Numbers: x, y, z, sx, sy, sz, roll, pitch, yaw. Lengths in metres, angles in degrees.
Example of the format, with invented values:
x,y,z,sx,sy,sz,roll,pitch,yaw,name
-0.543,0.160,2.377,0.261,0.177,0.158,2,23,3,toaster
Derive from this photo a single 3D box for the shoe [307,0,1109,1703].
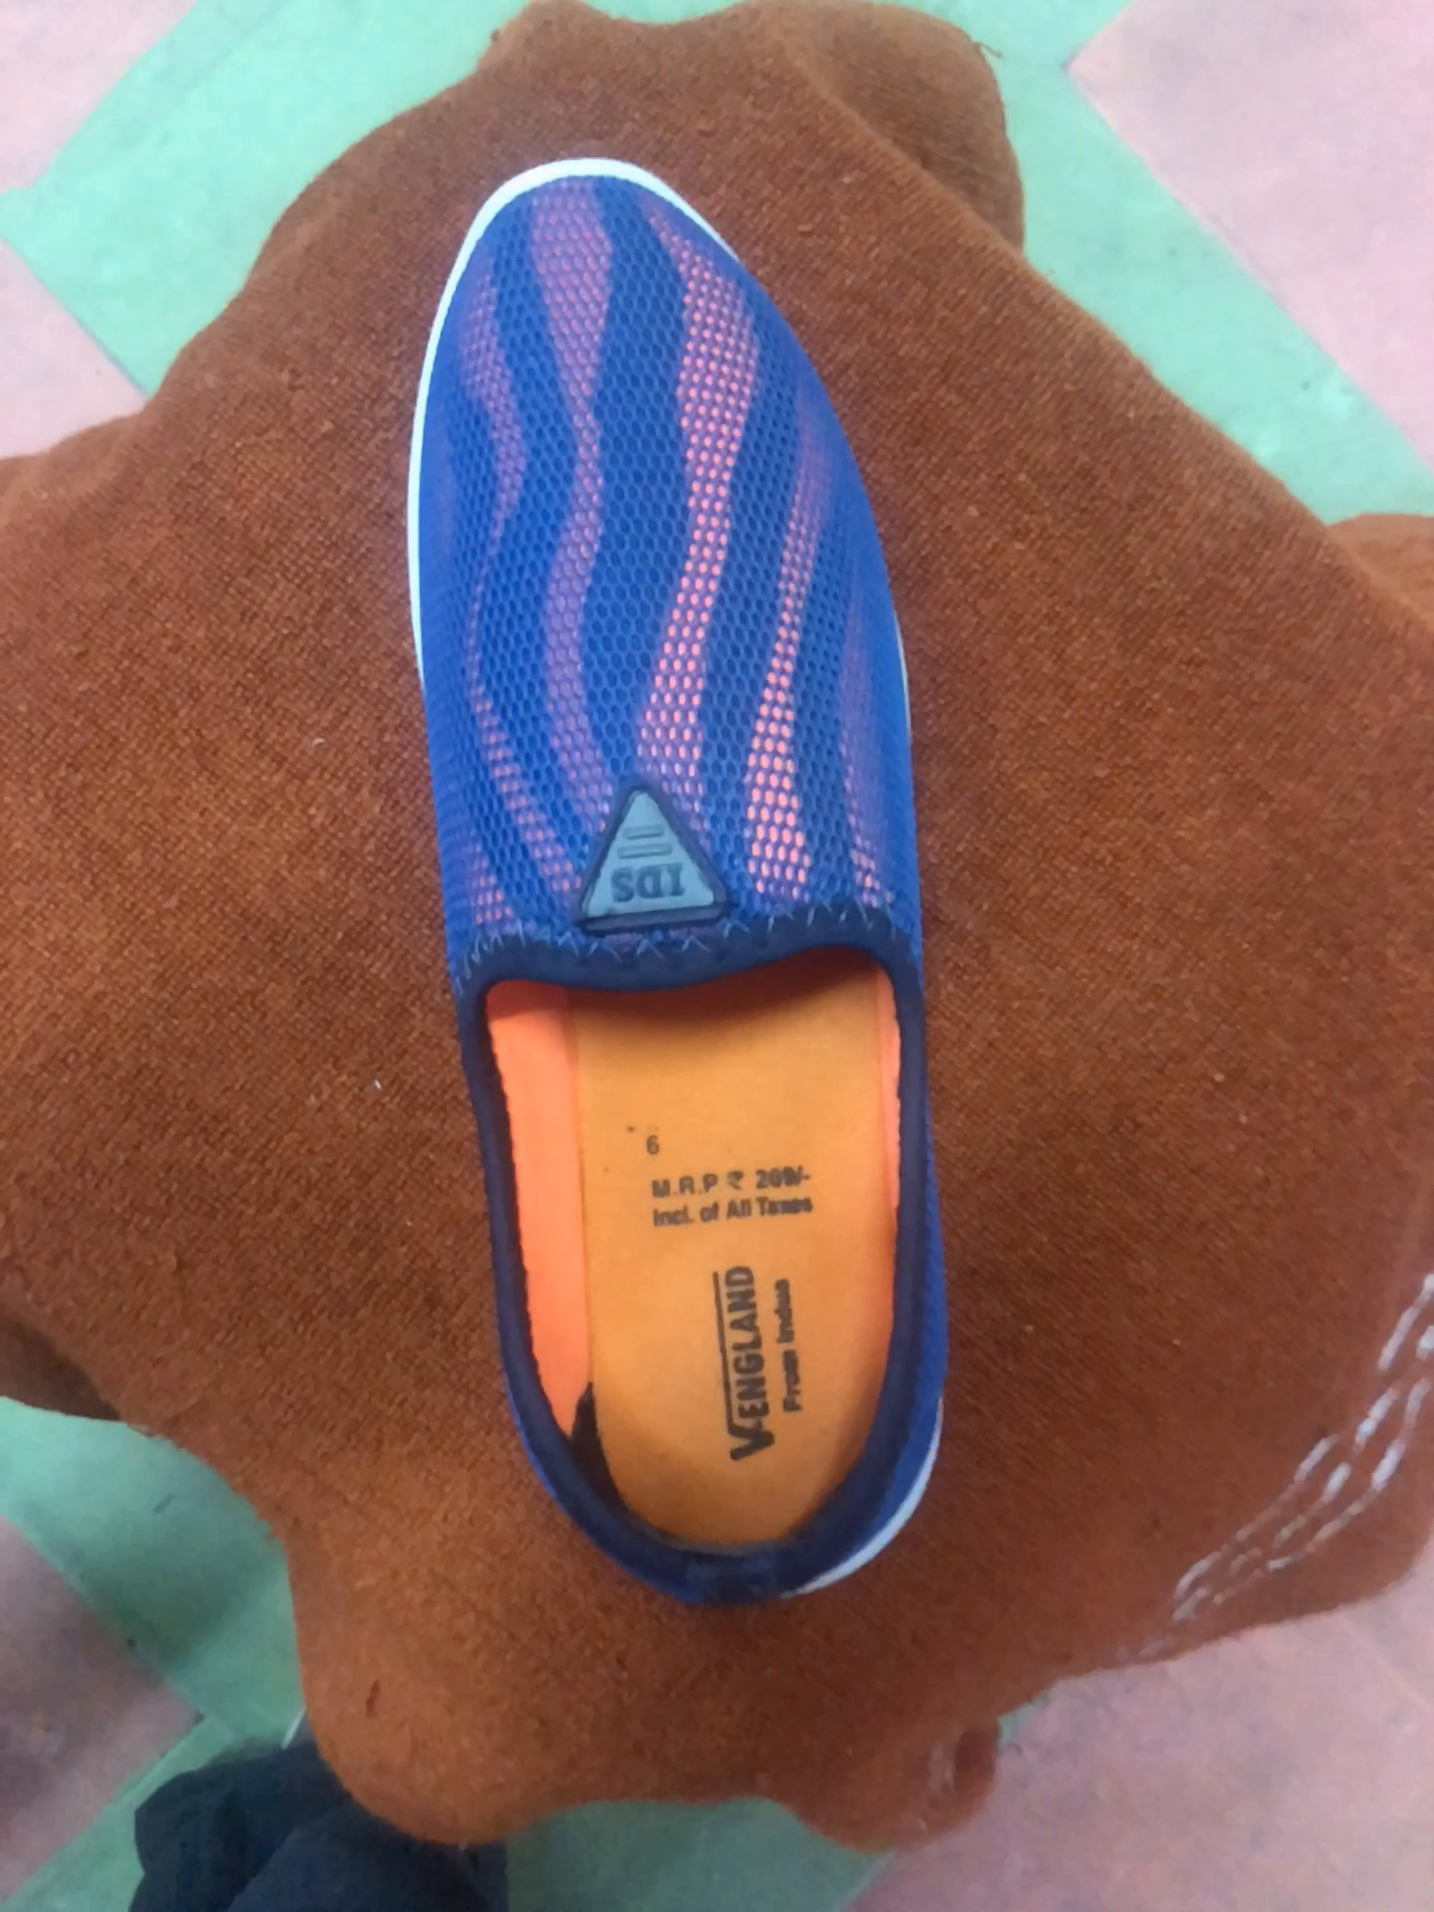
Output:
x,y,z,sx,sy,sz,roll,pitch,yaw,name
-0.002,-0.021,0.277,0.090,0.070,0.260,-7,90,-1,shoe
